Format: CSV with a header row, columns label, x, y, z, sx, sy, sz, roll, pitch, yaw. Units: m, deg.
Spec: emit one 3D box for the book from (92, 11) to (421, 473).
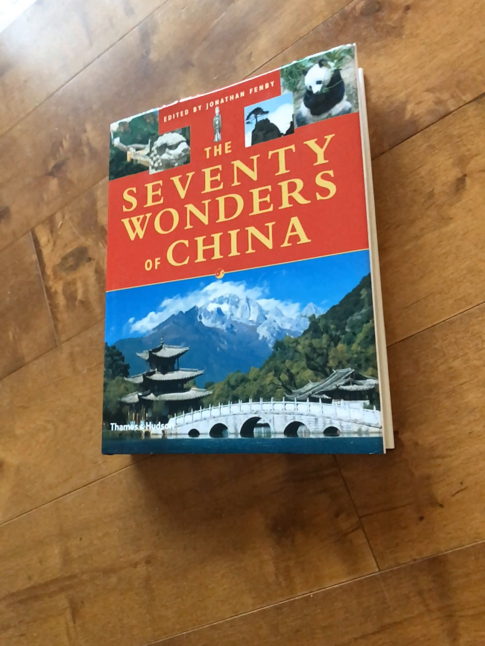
label,x,y,z,sx,sy,sz,roll,pitch,yaw
book,-0.002,-0.045,0.388,0.221,0.050,0.290,-7,77,26
